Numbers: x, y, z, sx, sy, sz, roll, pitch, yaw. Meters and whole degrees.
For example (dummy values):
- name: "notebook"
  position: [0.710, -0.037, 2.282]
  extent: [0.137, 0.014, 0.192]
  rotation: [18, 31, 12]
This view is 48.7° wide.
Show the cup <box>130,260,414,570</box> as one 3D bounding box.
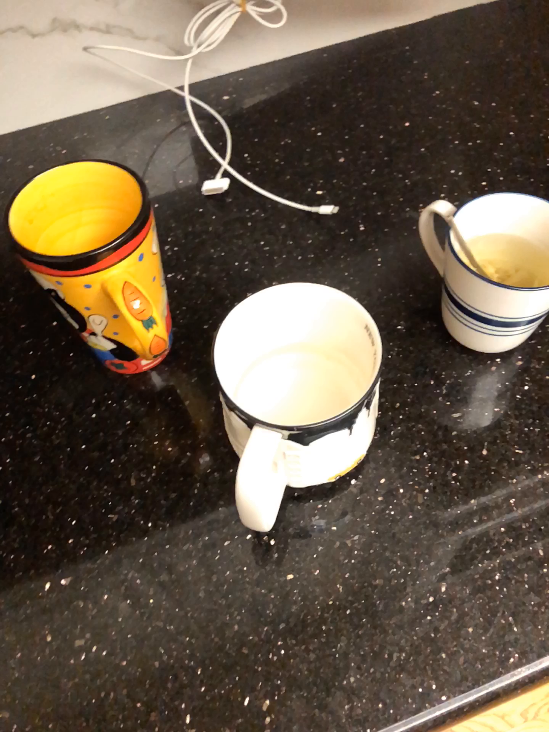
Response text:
- name: "cup"
  position: [0.005, 0.026, 0.372]
  extent: [0.110, 0.080, 0.140]
  rotation: [20, 60, 17]

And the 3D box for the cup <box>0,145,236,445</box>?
- name: "cup"
  position: [-0.115, -0.050, 0.410]
  extent: [0.100, 0.100, 0.150]
  rotation: [-32, 60, -16]

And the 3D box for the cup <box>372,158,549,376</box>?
- name: "cup"
  position: [0.145, -0.072, 0.425]
  extent: [0.090, 0.060, 0.120]
  rotation: [-33, 60, -17]
